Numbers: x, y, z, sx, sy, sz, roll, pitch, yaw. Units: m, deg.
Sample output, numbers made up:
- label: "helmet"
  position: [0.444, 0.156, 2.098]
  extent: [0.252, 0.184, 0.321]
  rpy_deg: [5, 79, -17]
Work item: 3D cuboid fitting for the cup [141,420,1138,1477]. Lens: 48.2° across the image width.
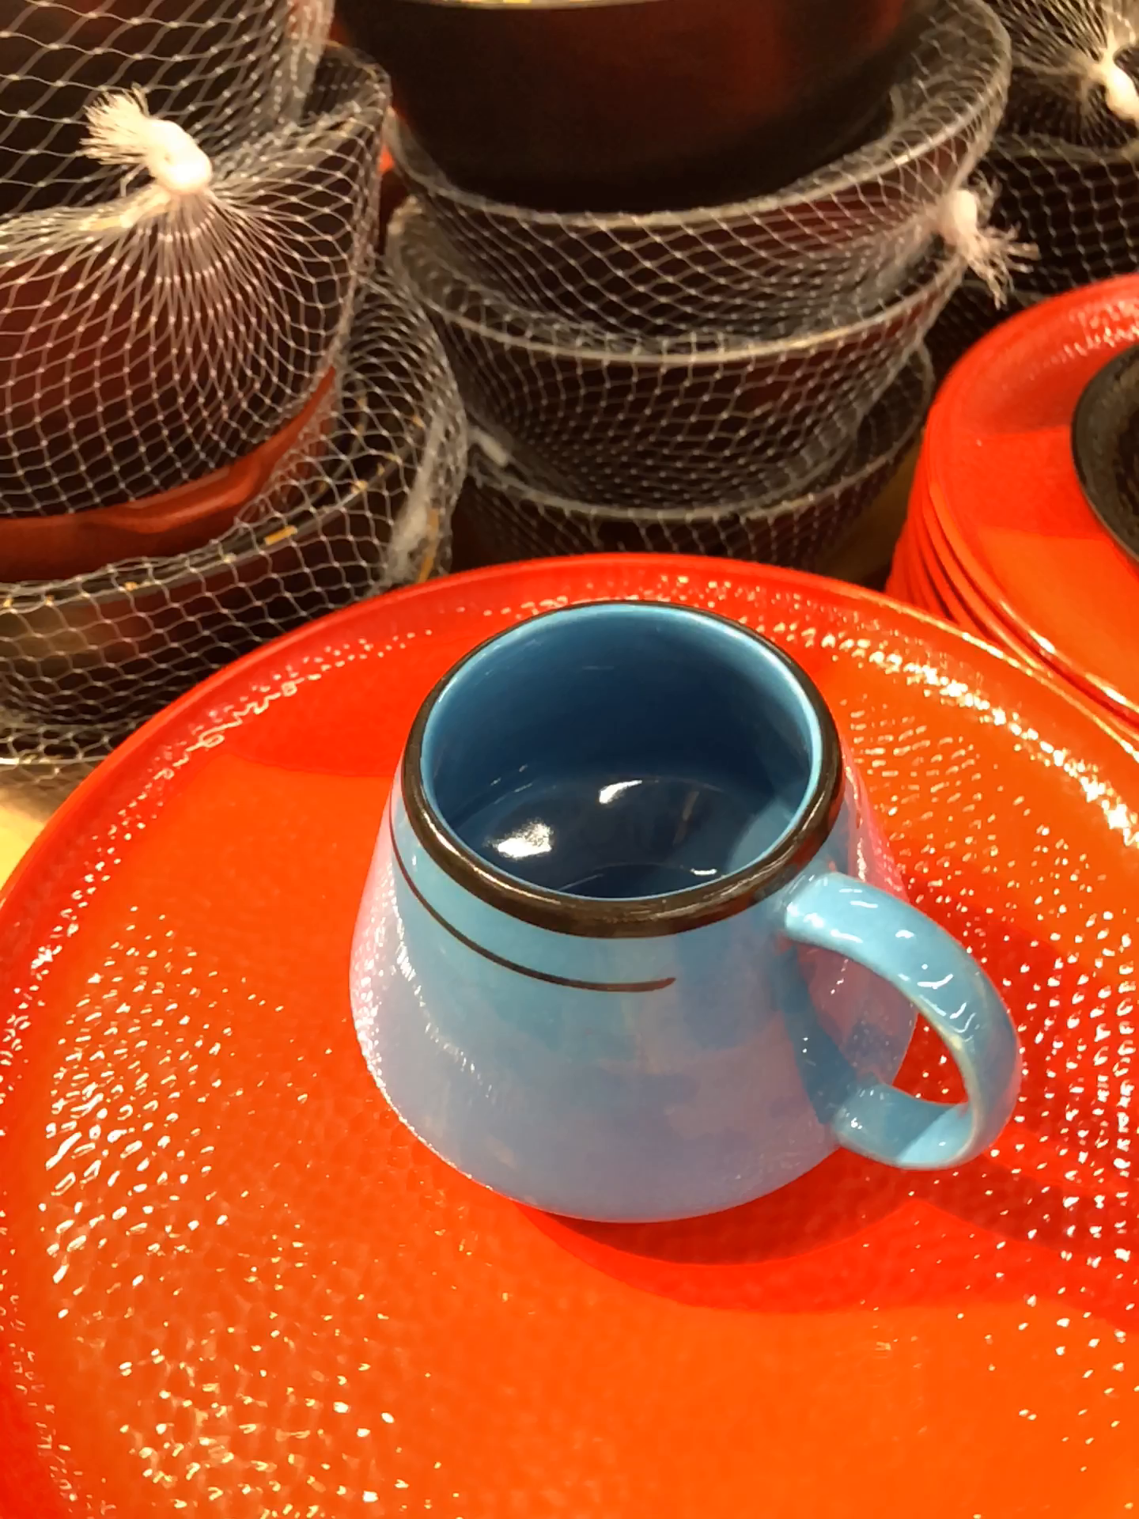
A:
- label: "cup"
  position: [0.022, 0.023, 0.234]
  extent: [0.140, 0.089, 0.111]
  rpy_deg: [28, 53, 27]
